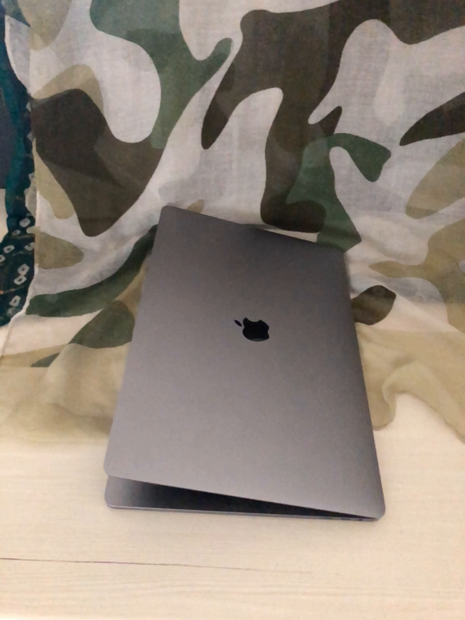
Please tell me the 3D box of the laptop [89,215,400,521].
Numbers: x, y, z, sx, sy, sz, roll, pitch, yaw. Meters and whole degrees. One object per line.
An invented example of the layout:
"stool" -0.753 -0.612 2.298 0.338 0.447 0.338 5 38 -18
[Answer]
"laptop" 0.017 0.030 0.531 0.236 0.058 0.340 3 45 1
